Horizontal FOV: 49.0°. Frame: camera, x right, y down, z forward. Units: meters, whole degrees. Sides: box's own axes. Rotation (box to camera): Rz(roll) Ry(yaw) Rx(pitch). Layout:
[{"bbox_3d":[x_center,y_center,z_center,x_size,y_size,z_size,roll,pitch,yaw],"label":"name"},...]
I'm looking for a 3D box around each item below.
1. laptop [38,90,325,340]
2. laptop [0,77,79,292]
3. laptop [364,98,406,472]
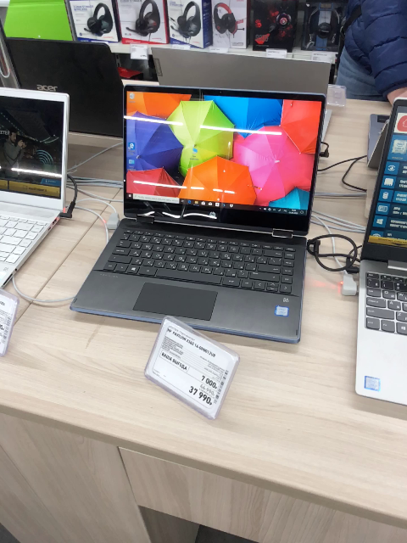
[{"bbox_3d":[-0.002,-0.108,0.674,0.326,0.194,0.328,7,43,10],"label":"laptop"},{"bbox_3d":[-0.429,-0.168,0.765,0.292,0.171,0.324,10,44,9],"label":"laptop"},{"bbox_3d":[0.402,-0.021,0.528,0.351,0.218,0.331,9,43,12],"label":"laptop"}]
